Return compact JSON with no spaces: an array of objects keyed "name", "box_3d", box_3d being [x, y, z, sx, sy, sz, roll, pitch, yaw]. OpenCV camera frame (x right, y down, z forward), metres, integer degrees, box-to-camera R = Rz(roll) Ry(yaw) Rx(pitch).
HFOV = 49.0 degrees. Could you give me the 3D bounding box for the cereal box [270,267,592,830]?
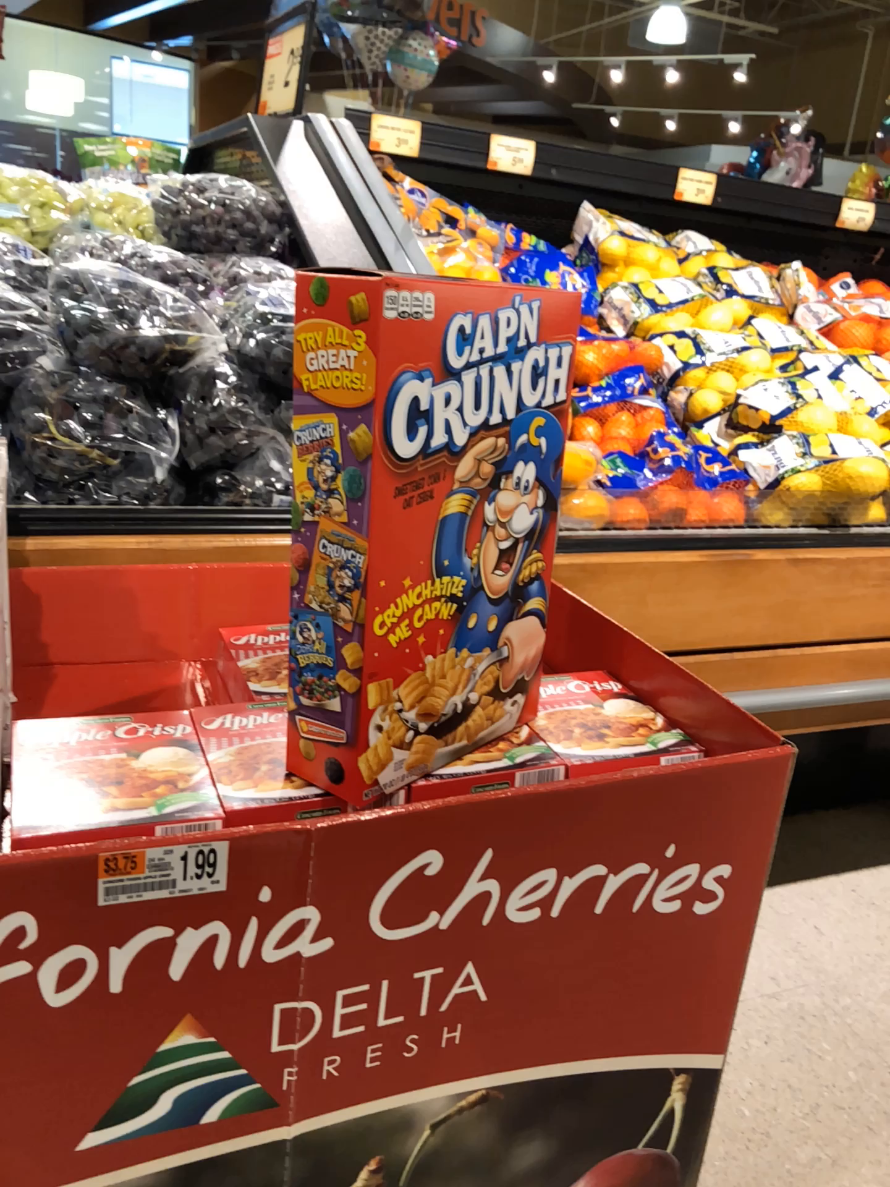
[{"name":"cereal box","box_3d":[-0.007,-0.040,0.661,0.070,0.328,0.221,17,21,36]}]
